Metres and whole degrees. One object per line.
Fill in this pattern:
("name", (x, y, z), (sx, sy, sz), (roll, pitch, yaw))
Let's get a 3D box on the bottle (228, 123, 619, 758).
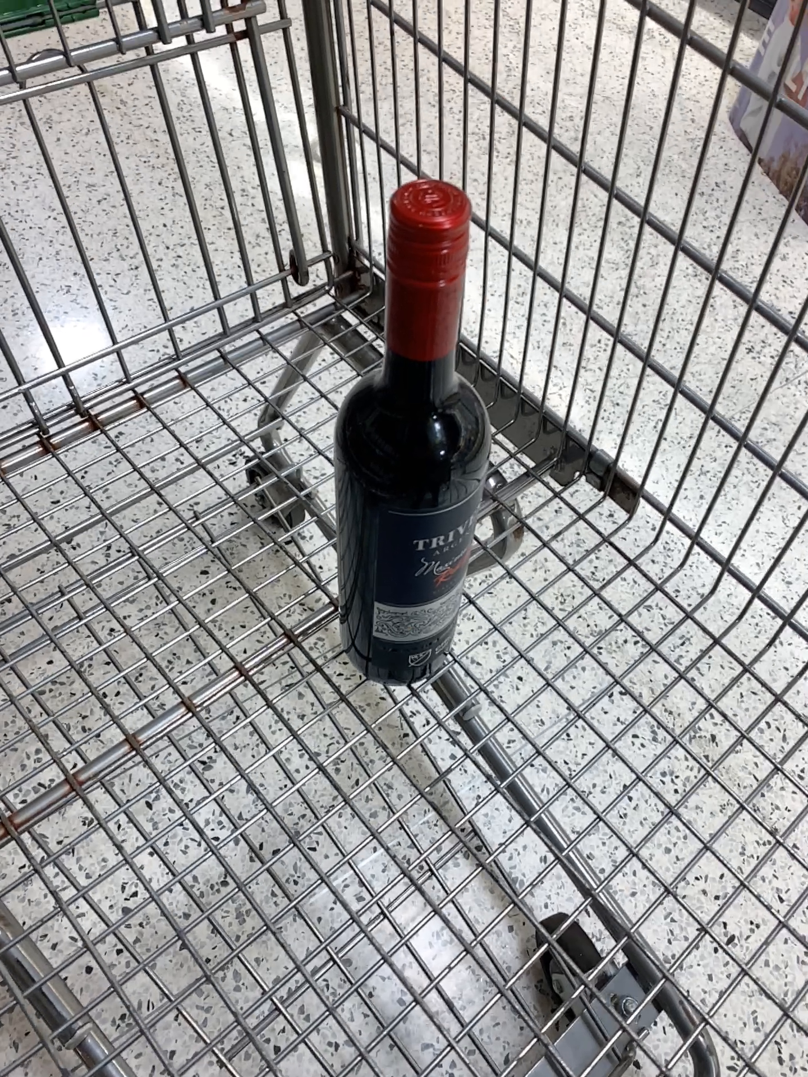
("bottle", (-0.007, -0.014, 0.433), (0.100, 0.337, 0.101), (3, 55, -5))
